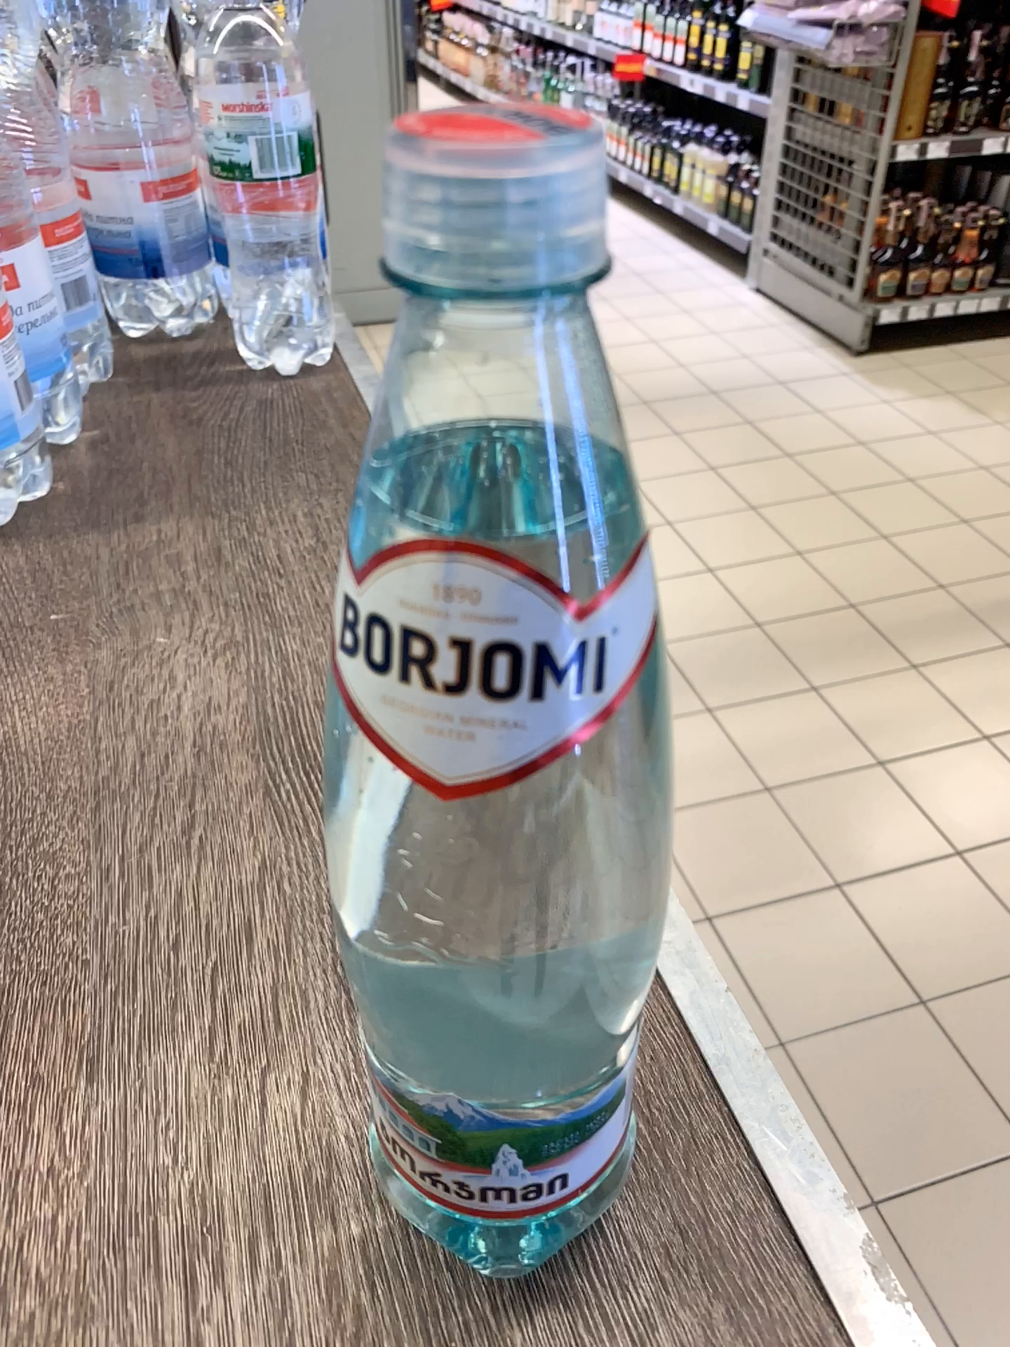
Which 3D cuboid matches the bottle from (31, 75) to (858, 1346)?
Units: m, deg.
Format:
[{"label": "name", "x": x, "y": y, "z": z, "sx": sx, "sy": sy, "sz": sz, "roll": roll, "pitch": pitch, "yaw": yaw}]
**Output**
[{"label": "bottle", "x": -0.002, "y": 0.028, "z": 0.201, "sx": 0.080, "sy": 0.239, "sz": 0.070, "roll": 14, "pitch": 40, "yaw": 18}]
